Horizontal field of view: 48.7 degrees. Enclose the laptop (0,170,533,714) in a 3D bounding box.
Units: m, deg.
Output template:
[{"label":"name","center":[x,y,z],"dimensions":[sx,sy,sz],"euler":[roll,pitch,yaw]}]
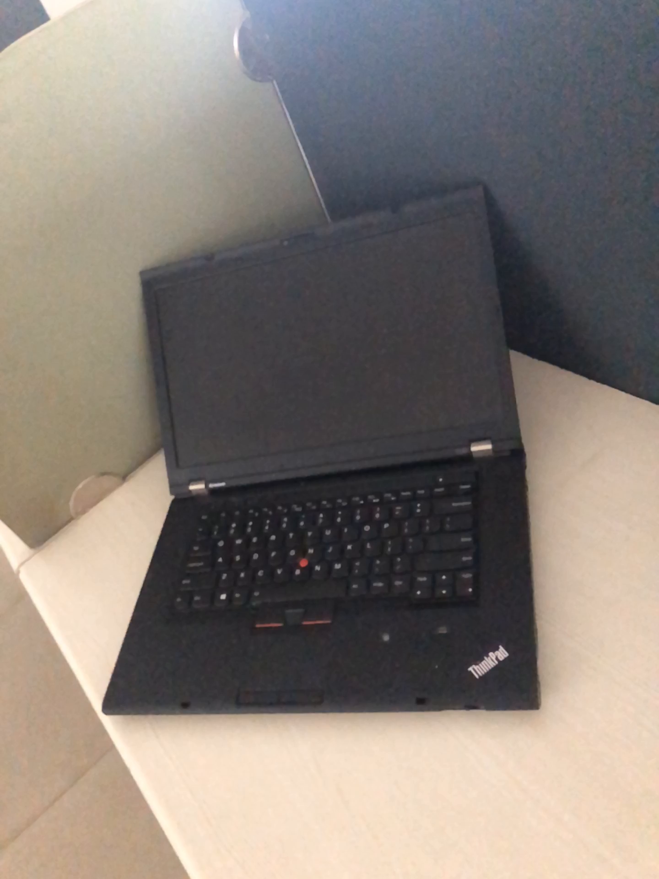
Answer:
[{"label":"laptop","center":[-0.029,-0.004,0.629],"dimensions":[0.356,0.167,0.406],"euler":[-9,45,21]}]
